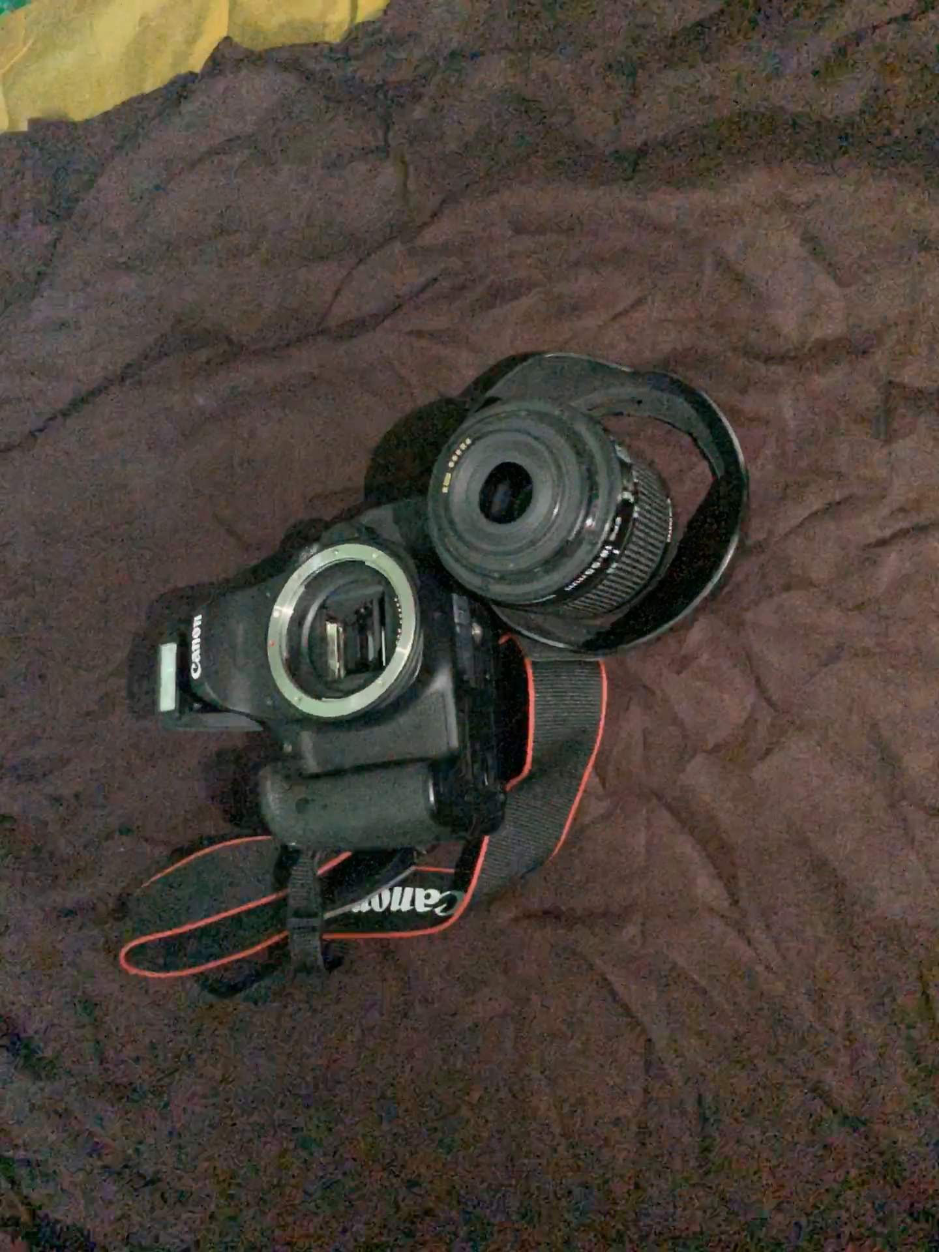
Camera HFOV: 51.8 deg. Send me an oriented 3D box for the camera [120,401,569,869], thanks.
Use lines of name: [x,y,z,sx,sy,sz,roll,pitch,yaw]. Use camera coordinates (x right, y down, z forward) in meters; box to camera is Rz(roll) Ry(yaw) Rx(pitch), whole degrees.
camera: [-0.051,0.013,0.396,0.150,0.082,0.147,-13,68,22]
